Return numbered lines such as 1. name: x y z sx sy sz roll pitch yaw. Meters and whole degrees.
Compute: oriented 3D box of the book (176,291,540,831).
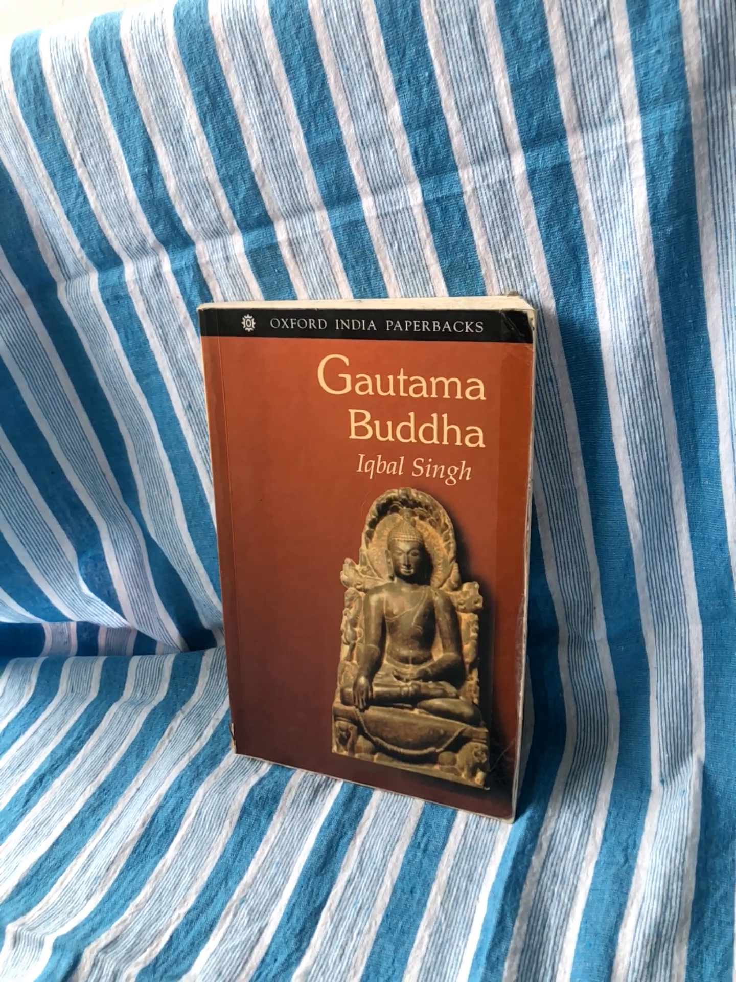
1. book: -0.002 0.025 0.348 0.140 0.209 0.040 5 16 24
